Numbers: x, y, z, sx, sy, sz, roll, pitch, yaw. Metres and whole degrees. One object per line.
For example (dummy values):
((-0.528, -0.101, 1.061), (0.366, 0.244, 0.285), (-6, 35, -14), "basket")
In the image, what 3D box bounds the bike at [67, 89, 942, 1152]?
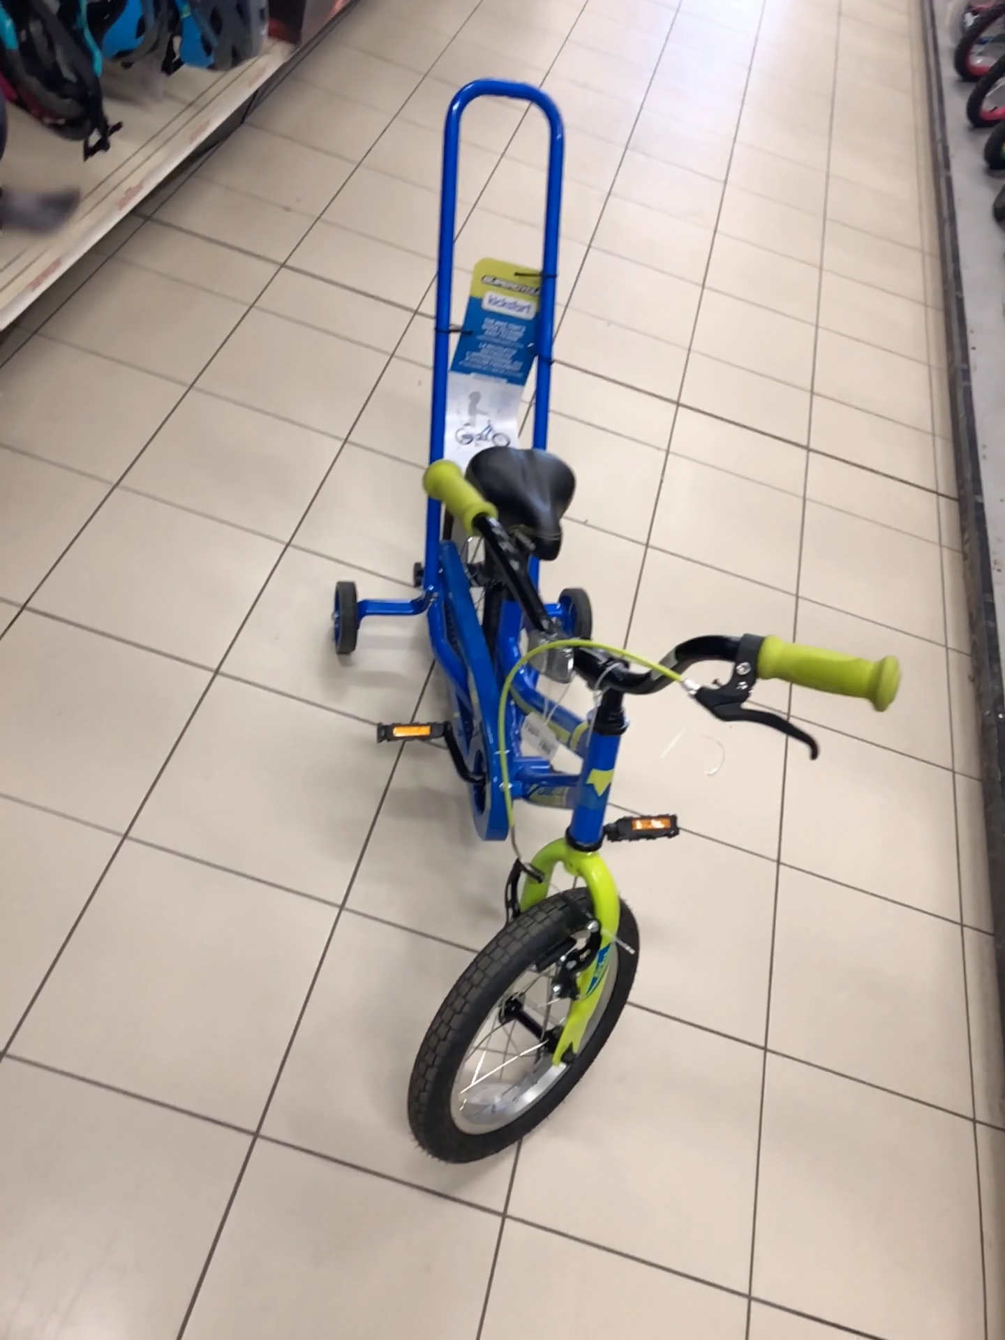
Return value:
((-0.048, -0.053, 1.270), (0.538, 0.763, 0.957), (10, 48, -10), "bike")
